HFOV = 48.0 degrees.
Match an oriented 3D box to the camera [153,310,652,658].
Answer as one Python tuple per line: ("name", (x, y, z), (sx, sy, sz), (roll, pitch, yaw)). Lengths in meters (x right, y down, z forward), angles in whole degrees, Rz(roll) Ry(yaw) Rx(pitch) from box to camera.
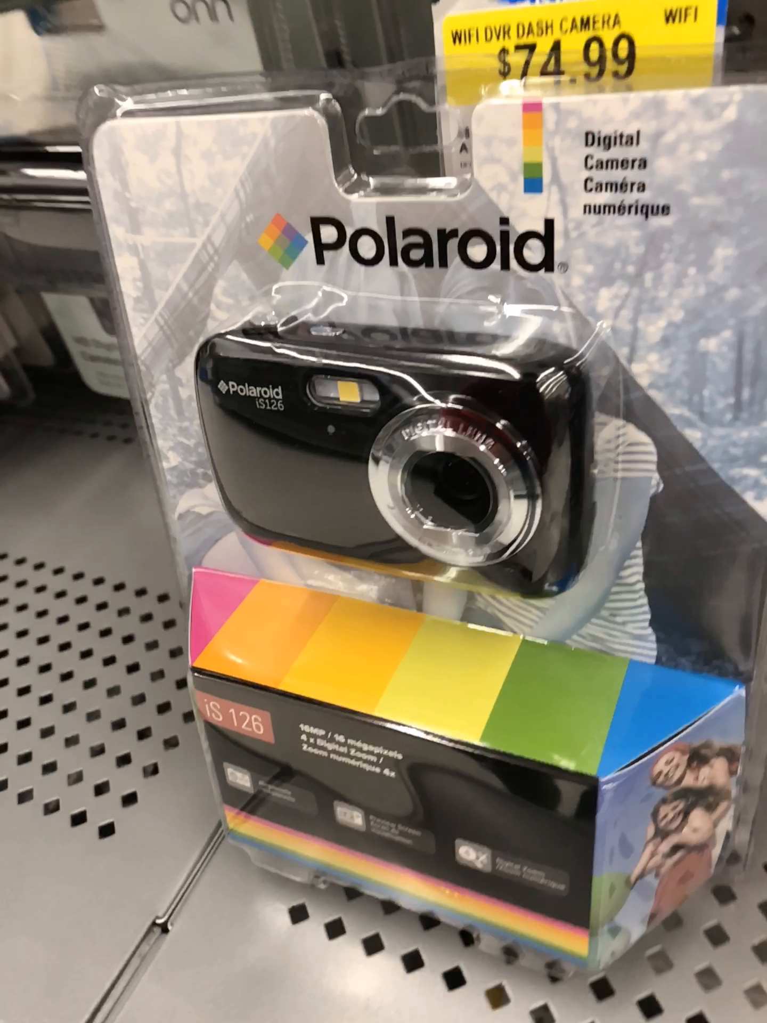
("camera", (0.005, -0.009, 0.196), (0.100, 0.060, 0.030), (10, 43, 24))
